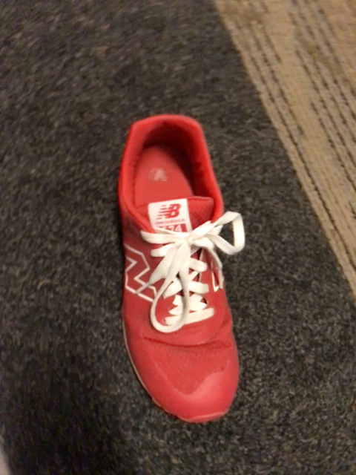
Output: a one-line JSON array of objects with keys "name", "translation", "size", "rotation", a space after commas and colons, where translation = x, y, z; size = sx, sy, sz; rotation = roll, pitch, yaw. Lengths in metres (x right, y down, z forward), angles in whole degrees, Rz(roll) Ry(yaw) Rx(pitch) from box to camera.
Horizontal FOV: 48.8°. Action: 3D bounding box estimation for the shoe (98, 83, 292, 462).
[{"name": "shoe", "translation": [-0.003, 0.019, 0.324], "size": [0.100, 0.108, 0.257], "rotation": [-4, 76, -14]}]
